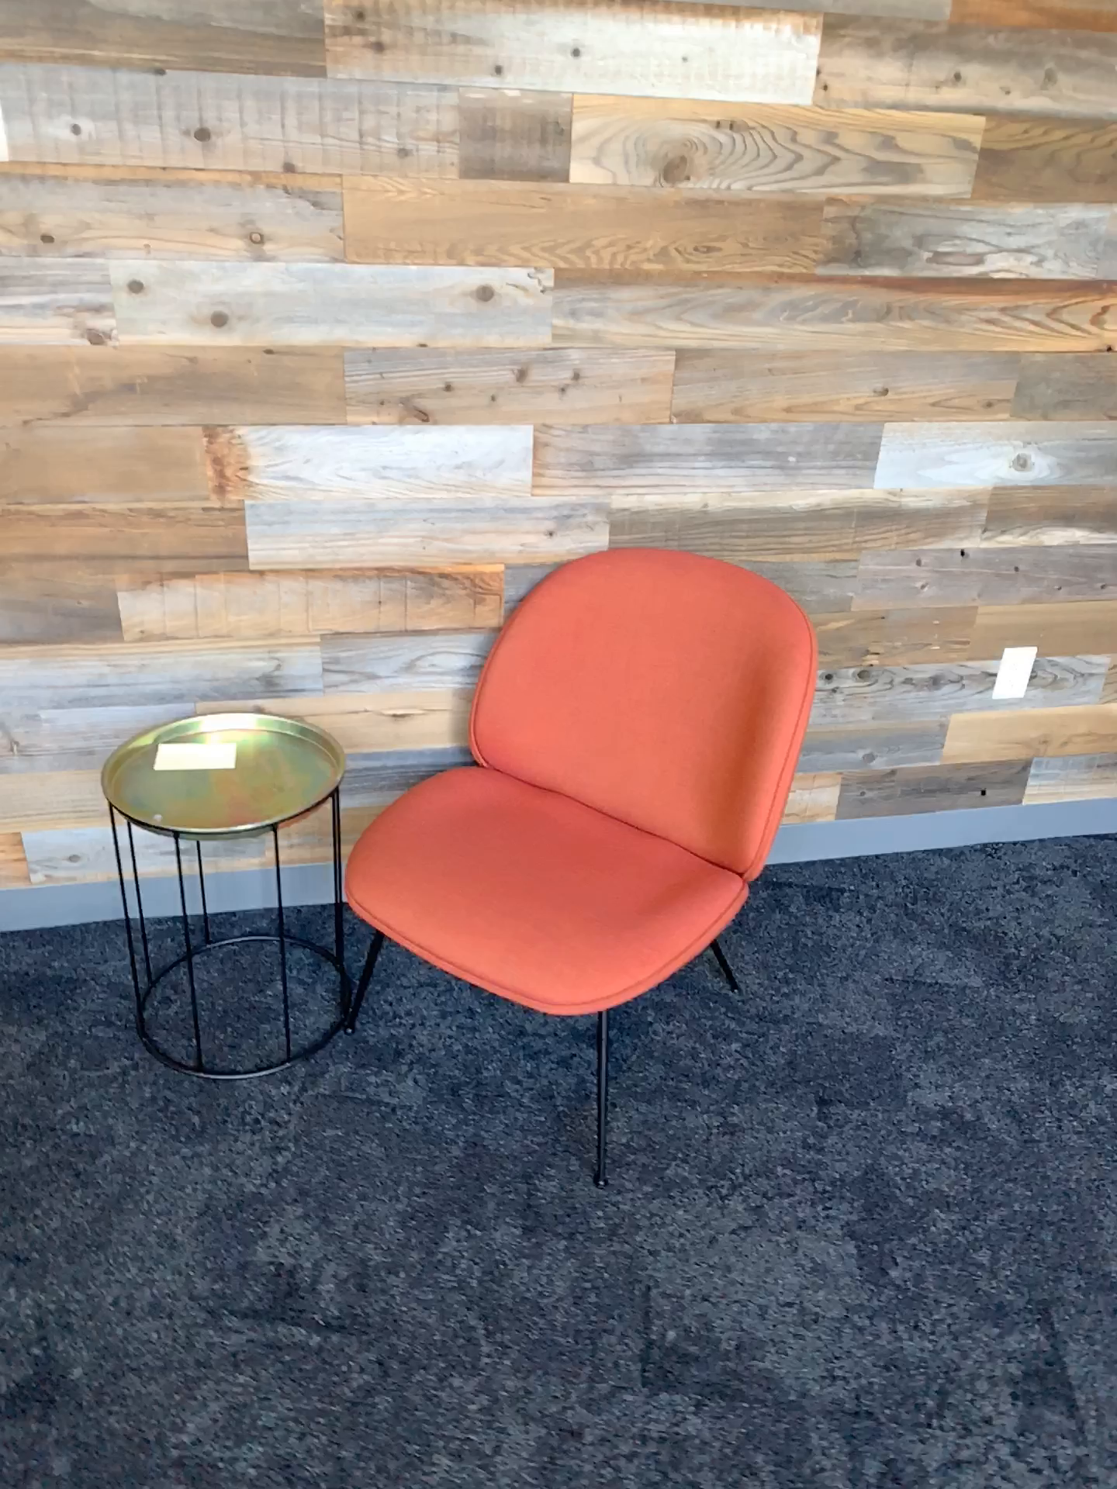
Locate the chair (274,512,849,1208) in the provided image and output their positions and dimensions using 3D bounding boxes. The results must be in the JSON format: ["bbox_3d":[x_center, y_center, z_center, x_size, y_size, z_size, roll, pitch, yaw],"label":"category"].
[{"bbox_3d":[0.024,0.125,1.881,0.571,0.756,0.712,19,33,27],"label":"chair"}]
